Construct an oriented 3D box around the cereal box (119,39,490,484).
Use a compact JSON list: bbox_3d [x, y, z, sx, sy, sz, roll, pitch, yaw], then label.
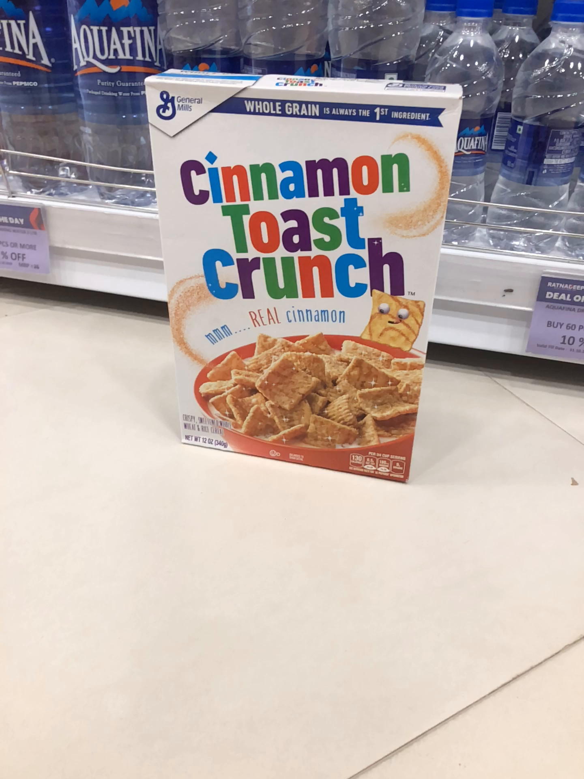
[{"bbox_3d":[0.007,-0.075,0.442,0.200,0.278,0.060,8,35,11],"label":"cereal box"}]
